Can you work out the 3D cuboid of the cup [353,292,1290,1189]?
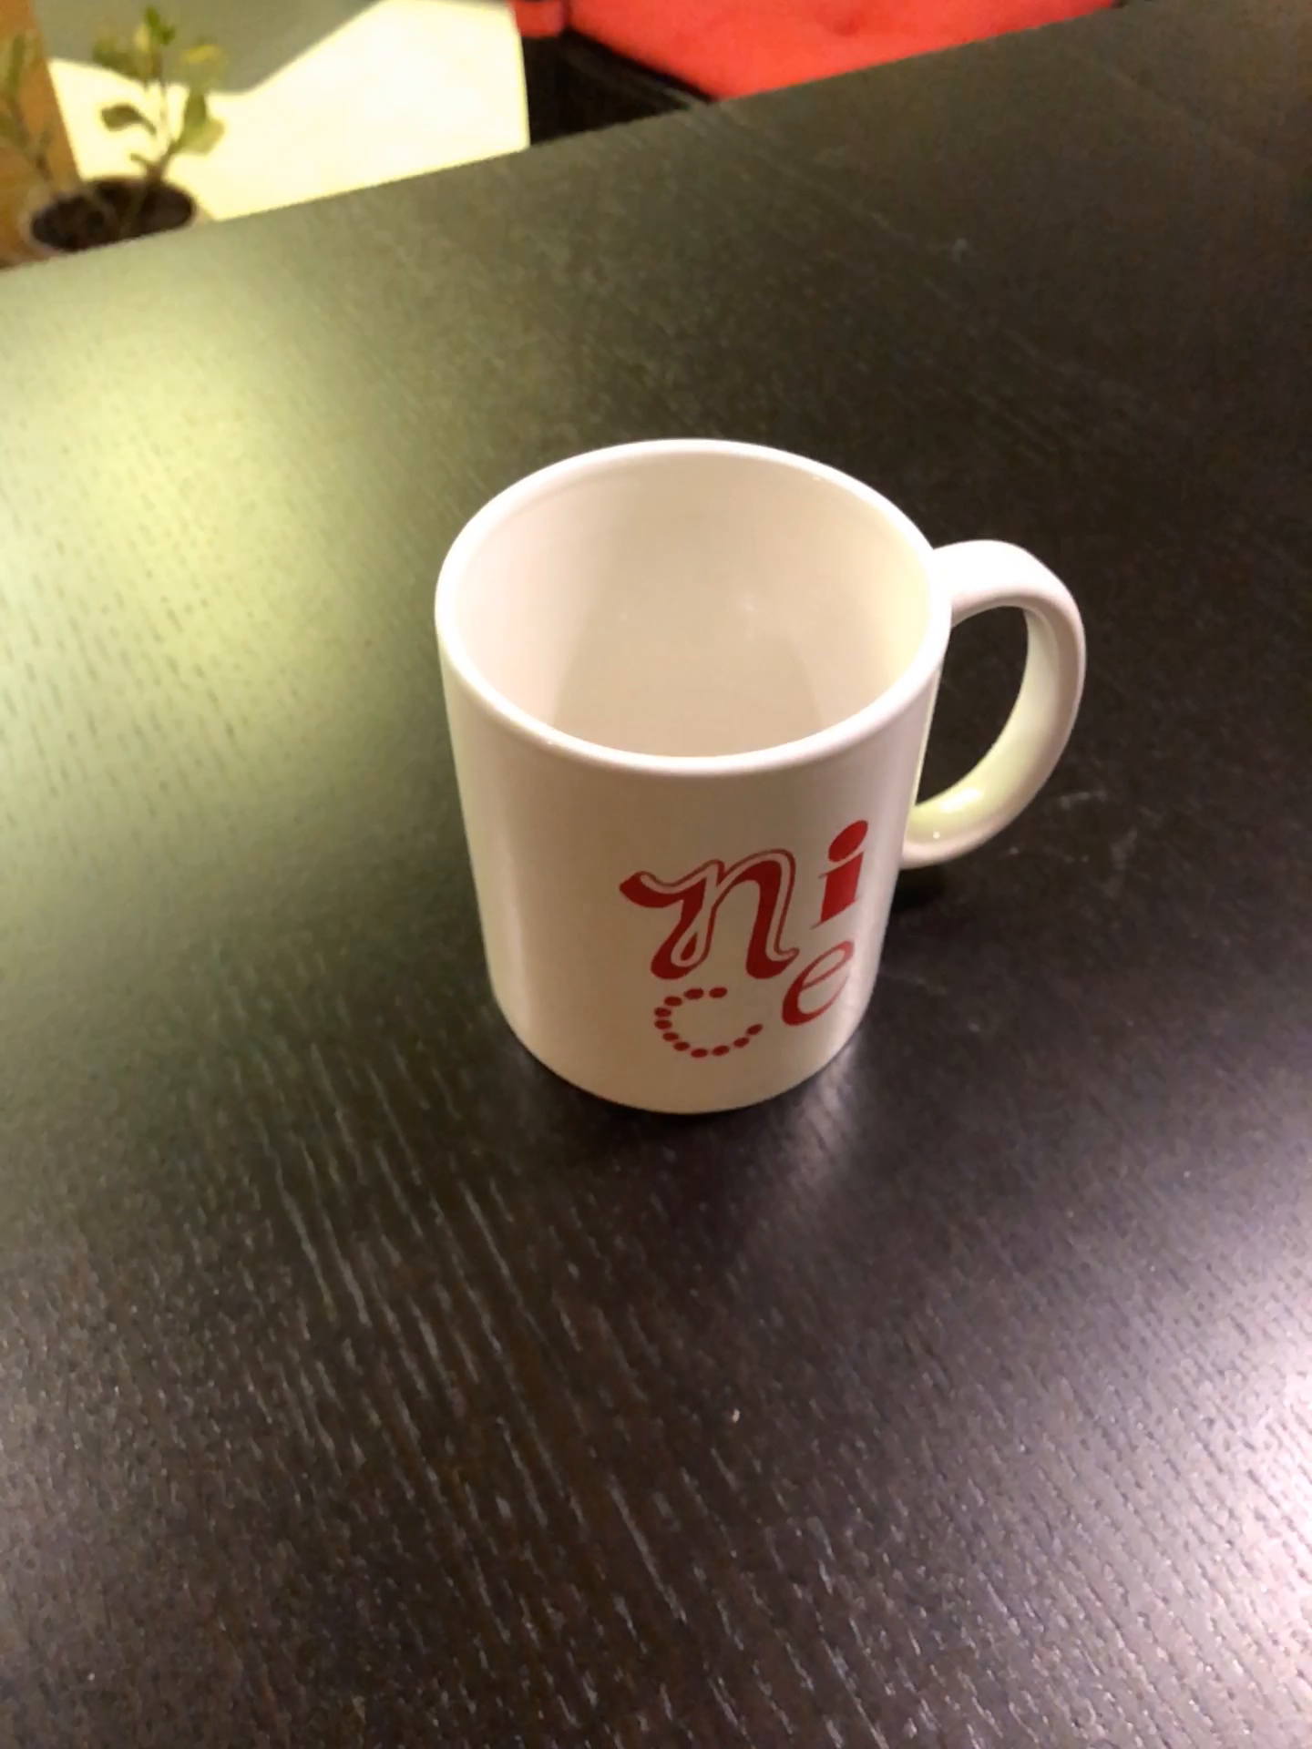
[{"bbox_3d":[0.022,-0.027,0.279,0.120,0.099,0.100,-18,52,-15],"label":"cup"}]
